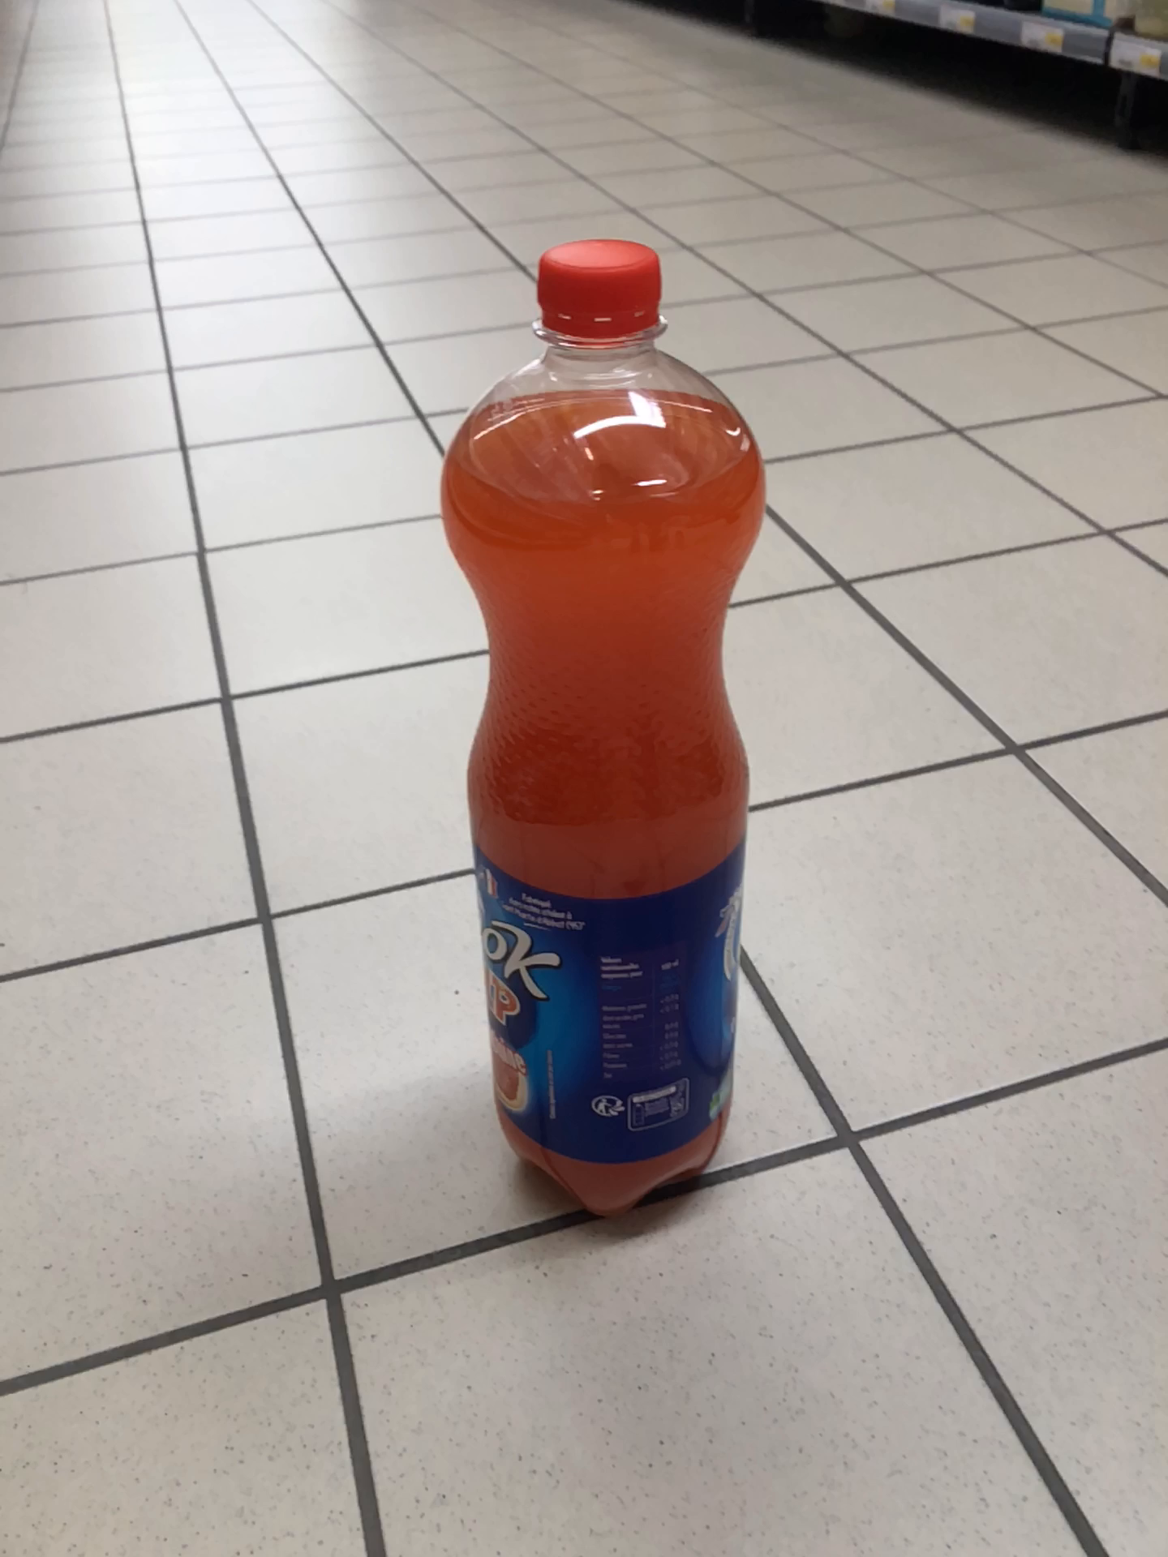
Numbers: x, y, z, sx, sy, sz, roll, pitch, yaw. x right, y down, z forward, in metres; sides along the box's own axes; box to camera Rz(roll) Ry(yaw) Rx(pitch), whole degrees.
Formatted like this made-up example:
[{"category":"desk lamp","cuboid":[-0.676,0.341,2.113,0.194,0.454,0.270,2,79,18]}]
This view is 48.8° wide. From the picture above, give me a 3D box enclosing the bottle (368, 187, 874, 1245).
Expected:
[{"category":"bottle","cuboid":[0.007,-0.004,0.404,0.100,0.308,0.111,-9,36,-9]}]
